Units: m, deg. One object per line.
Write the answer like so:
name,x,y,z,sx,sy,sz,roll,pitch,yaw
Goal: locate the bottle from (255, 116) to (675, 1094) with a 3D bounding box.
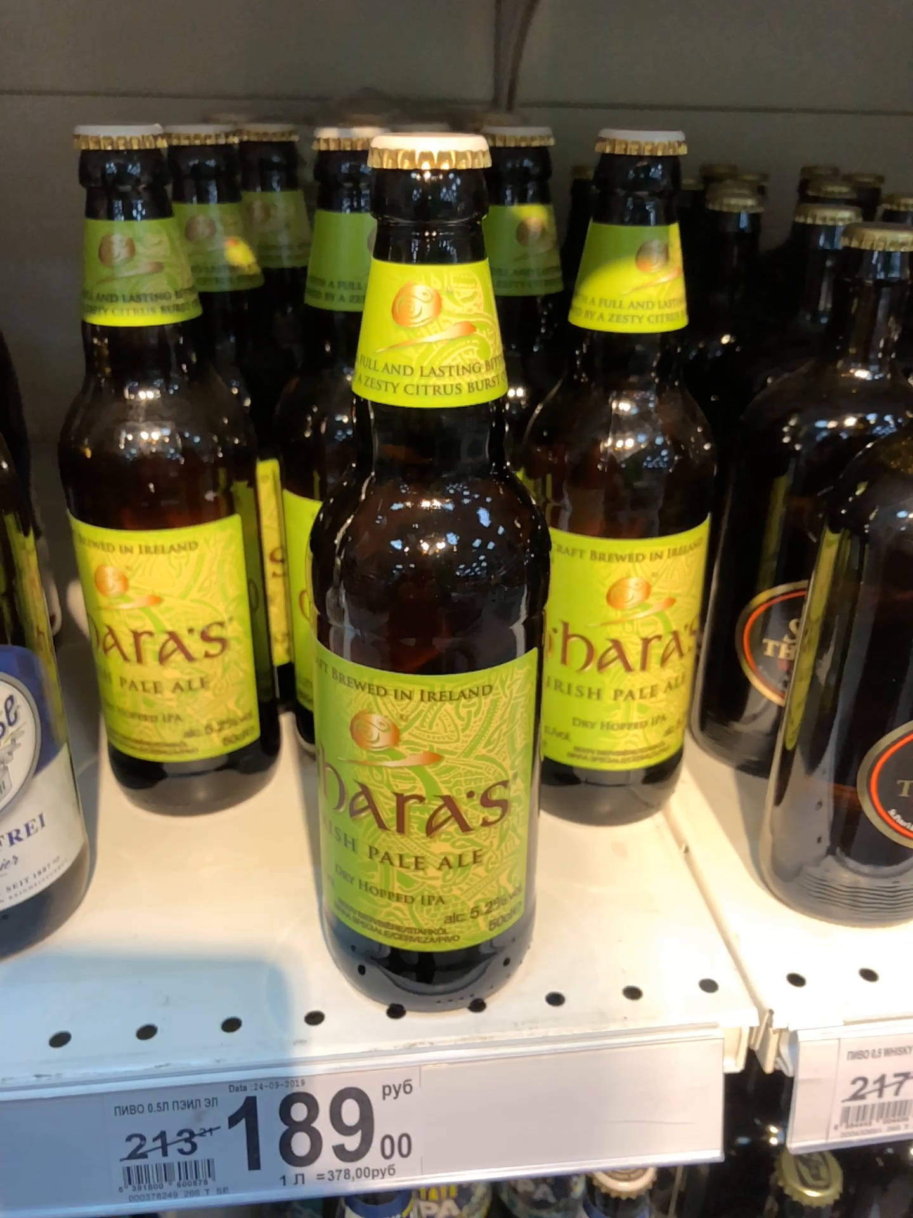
bottle,0.003,0.005,0.279,0.070,0.250,0.070,1,25,0
